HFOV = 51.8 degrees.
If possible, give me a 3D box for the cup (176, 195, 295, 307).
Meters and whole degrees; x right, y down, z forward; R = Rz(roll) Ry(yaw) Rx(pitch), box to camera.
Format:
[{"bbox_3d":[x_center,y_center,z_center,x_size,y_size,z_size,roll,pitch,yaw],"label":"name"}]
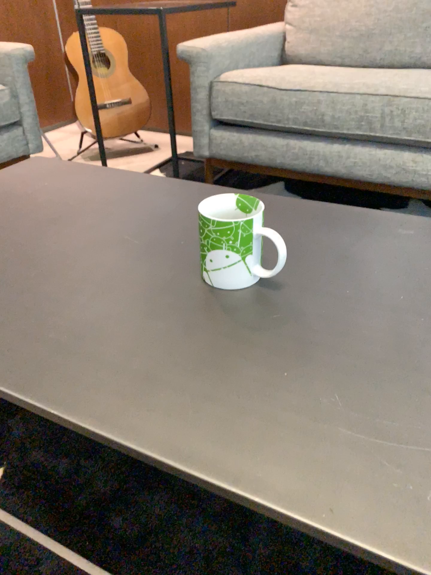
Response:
[{"bbox_3d":[0.027,-0.048,0.549,0.120,0.090,0.090,10,35,17],"label":"cup"}]
